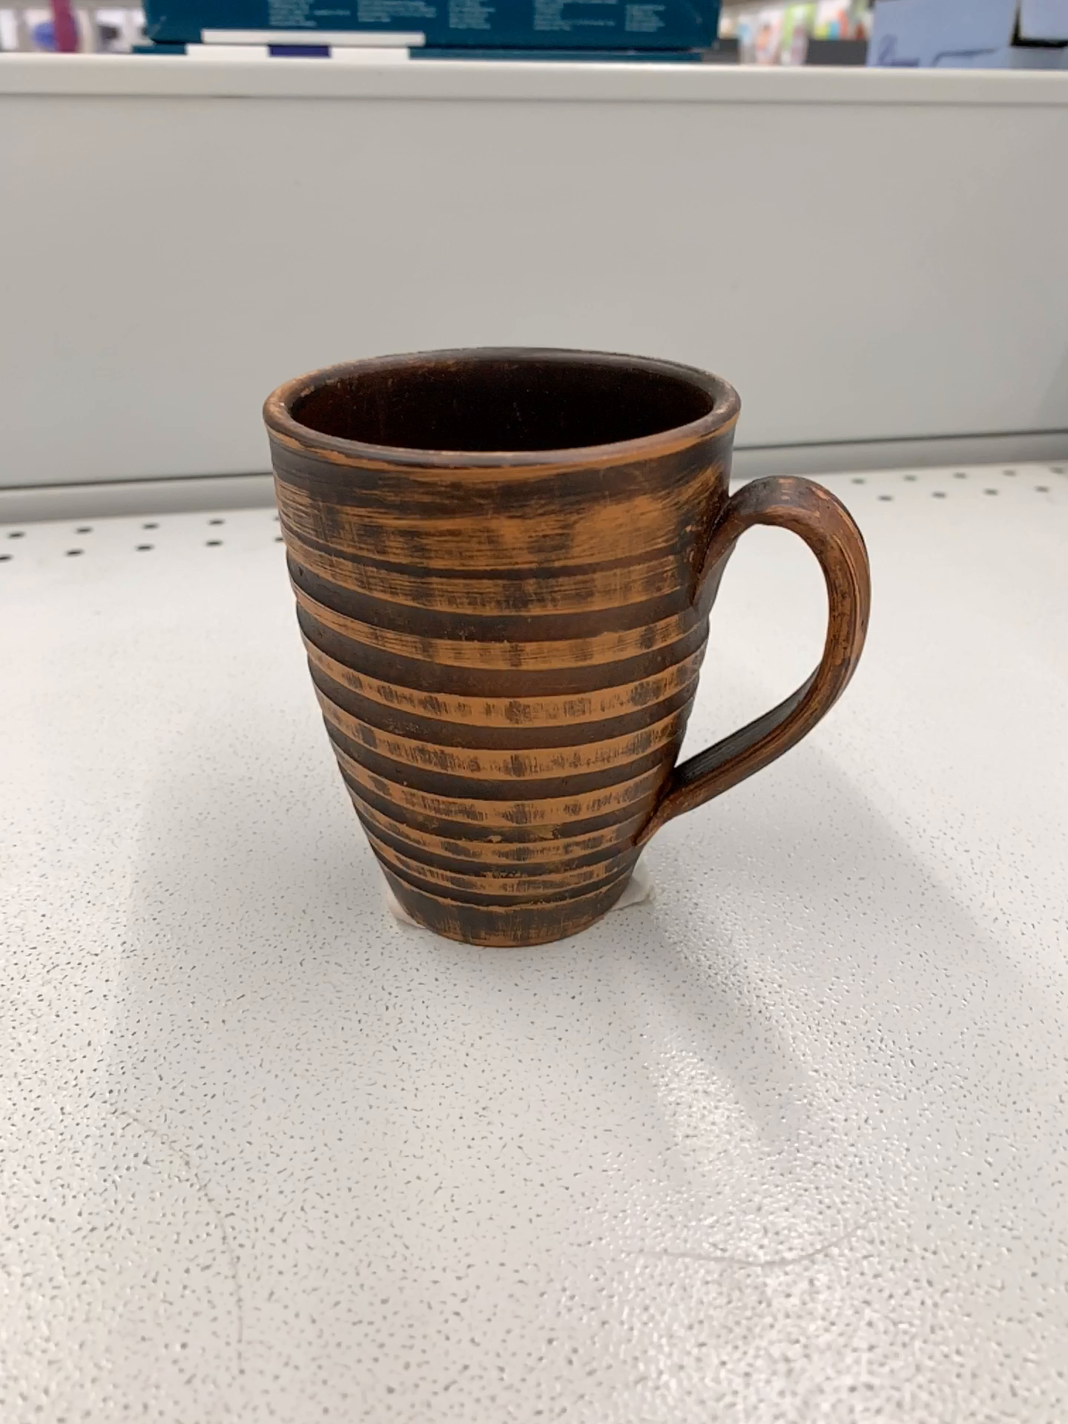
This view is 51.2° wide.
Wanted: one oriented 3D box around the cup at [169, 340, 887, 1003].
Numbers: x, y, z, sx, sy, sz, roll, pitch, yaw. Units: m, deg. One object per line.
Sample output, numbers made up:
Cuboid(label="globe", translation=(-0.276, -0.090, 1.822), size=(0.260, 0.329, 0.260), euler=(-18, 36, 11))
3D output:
Cuboid(label="cup", translation=(0.006, -0.015, 0.215), size=(0.106, 0.089, 0.084), euler=(7, 29, 12))
